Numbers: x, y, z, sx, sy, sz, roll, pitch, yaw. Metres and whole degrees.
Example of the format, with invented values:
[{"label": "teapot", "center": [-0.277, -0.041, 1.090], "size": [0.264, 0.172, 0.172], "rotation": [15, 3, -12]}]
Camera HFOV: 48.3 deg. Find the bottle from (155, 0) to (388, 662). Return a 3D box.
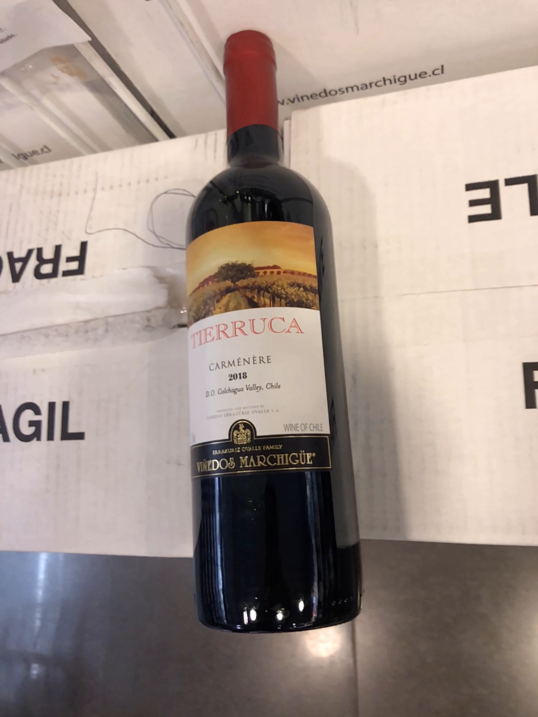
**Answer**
[{"label": "bottle", "center": [-0.001, -0.037, 0.295], "size": [0.080, 0.080, 0.320], "rotation": [-6, 77, 17]}]
